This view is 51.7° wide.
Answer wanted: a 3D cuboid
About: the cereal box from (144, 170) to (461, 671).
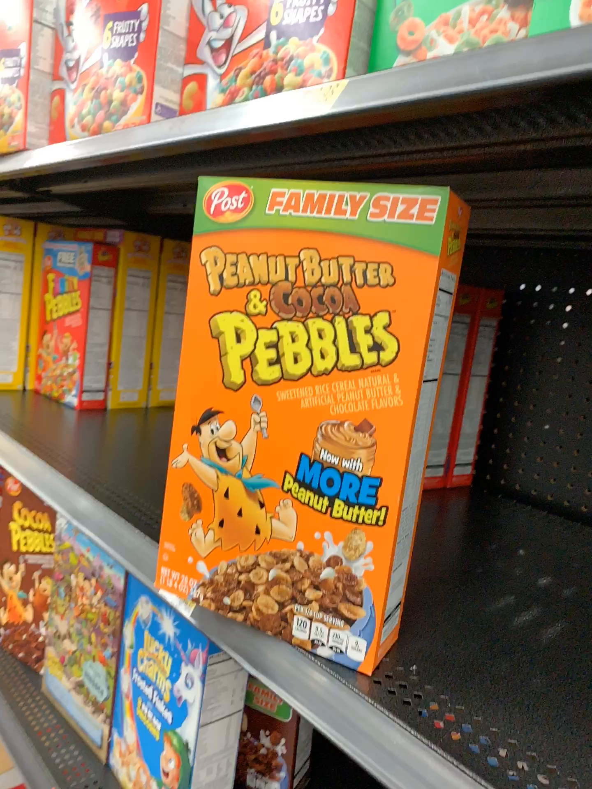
[{"bbox_3d":[-0.005,0.008,0.479,0.200,0.339,0.060,11,8,26],"label":"cereal box"}]
